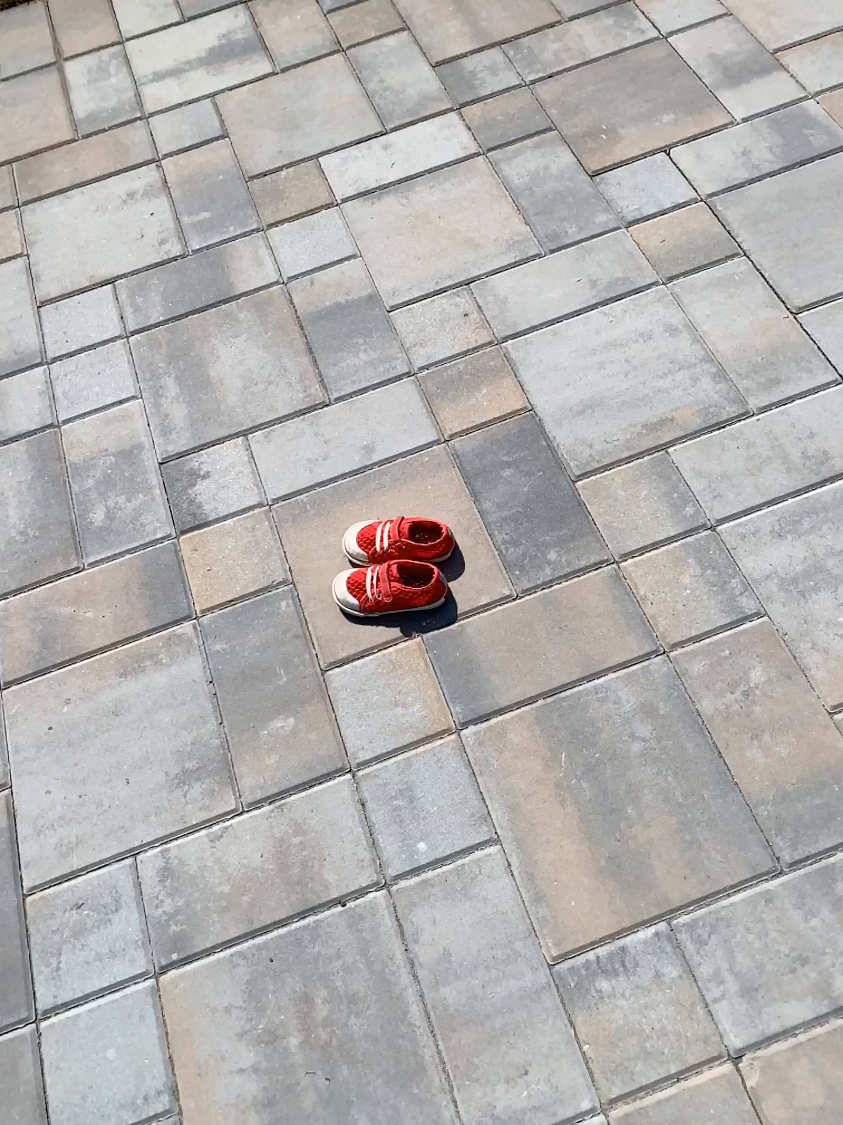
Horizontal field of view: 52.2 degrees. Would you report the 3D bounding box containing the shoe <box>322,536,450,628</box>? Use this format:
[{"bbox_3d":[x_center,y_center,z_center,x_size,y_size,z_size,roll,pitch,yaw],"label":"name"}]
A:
[{"bbox_3d":[-0.049,0.030,1.257,0.170,0.100,0.090,-4,62,5],"label":"shoe"}]

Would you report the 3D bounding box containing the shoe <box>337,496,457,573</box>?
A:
[{"bbox_3d":[-0.033,-0.041,1.277,0.160,0.100,0.070,2,63,8],"label":"shoe"}]
